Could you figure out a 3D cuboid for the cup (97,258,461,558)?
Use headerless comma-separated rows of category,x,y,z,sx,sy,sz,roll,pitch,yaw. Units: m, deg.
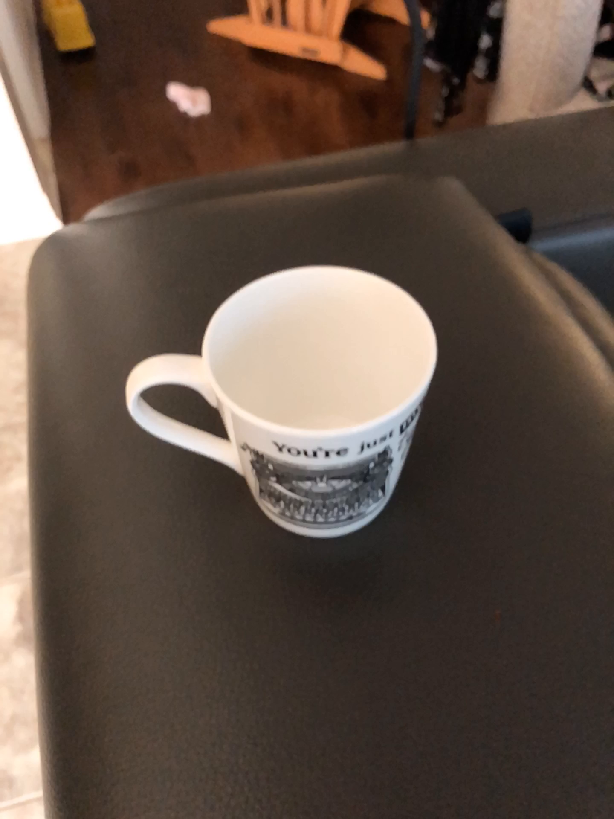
cup,-0.010,0.001,0.283,0.117,0.089,0.081,-2,51,-1
